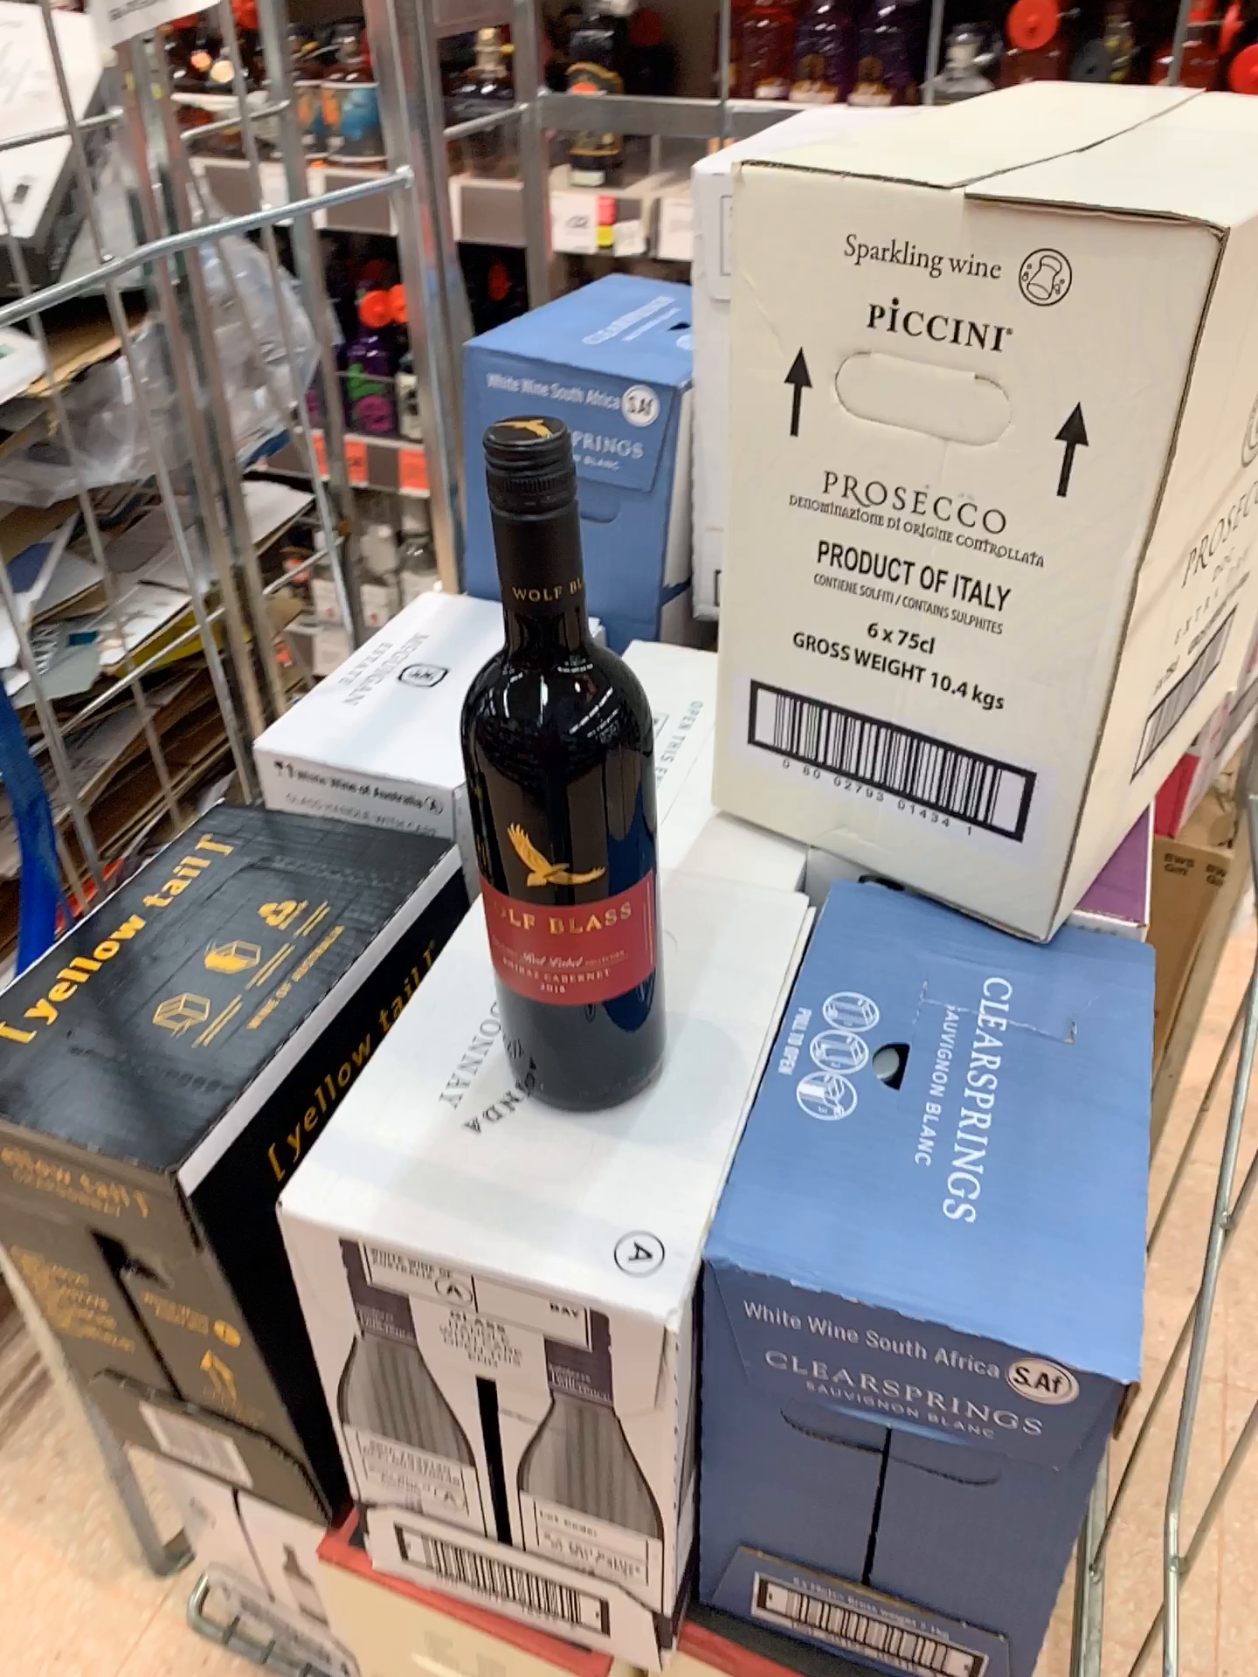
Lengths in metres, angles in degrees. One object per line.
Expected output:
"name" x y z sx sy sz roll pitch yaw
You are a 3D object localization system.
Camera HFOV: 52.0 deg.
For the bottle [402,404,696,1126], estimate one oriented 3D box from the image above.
"bottle" -0.023 -0.016 0.494 0.080 0.270 0.076 0 36 0
